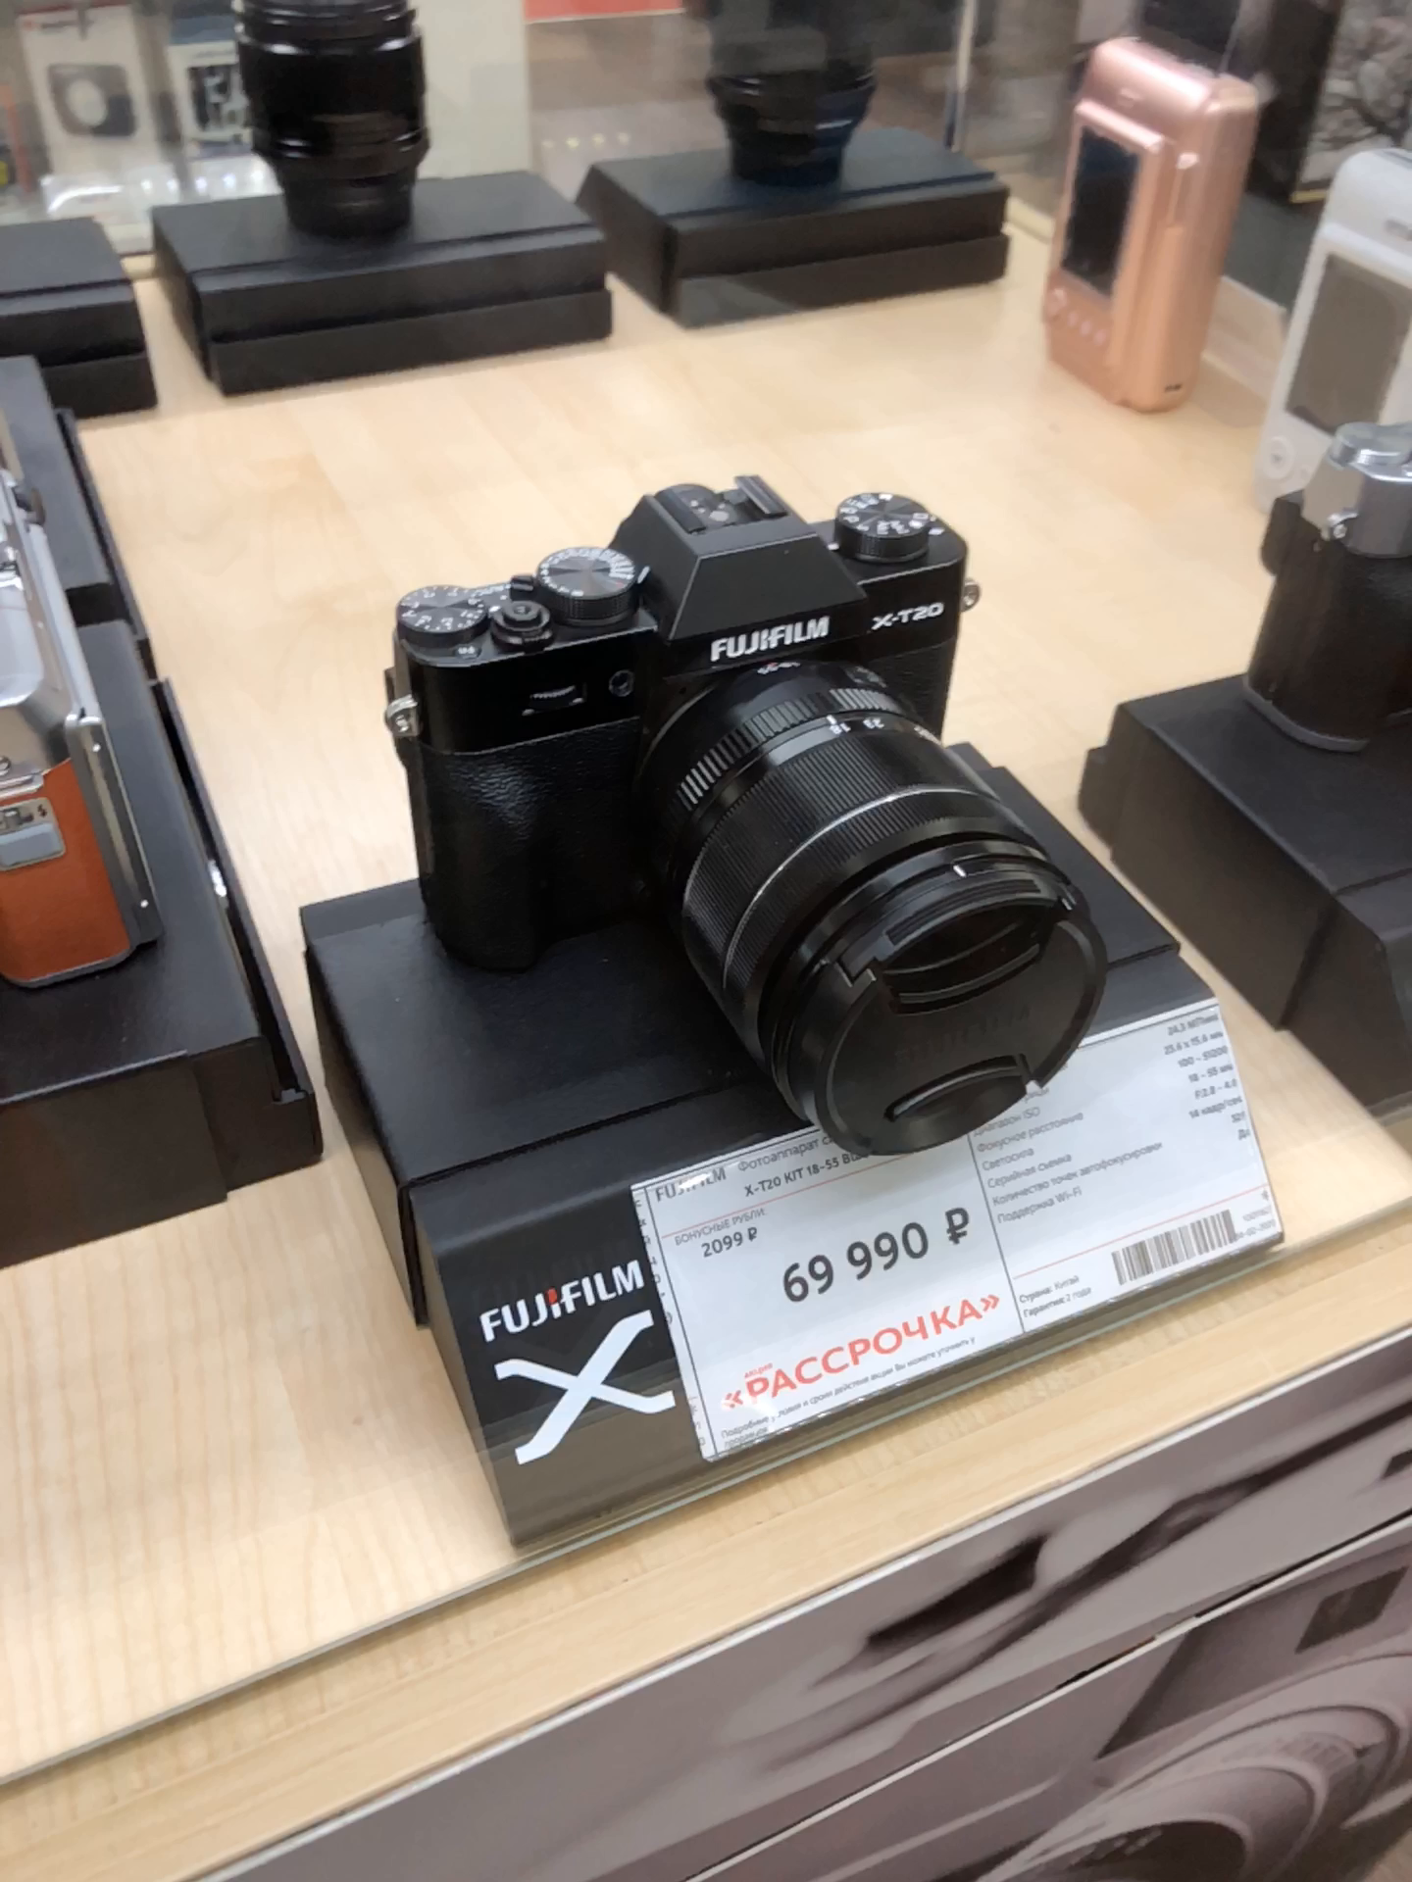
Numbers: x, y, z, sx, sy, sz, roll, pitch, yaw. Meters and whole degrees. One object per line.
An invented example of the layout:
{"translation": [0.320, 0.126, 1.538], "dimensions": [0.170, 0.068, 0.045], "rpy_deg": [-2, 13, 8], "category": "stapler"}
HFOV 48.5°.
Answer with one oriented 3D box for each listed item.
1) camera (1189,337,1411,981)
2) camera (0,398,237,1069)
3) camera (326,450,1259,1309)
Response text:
{"translation": [0.211, -0.073, 0.362], "dimensions": [0.130, 0.072, 0.124], "rpy_deg": [-16, 45, -20], "category": "camera"}
{"translation": [-0.149, -0.048, 0.310], "dimensions": [0.074, 0.063, 0.122], "rpy_deg": [-16, 45, -20], "category": "camera"}
{"translation": [0.006, -0.022, 0.303], "dimensions": [0.122, 0.080, 0.131], "rpy_deg": [-14, 44, -18], "category": "camera"}
